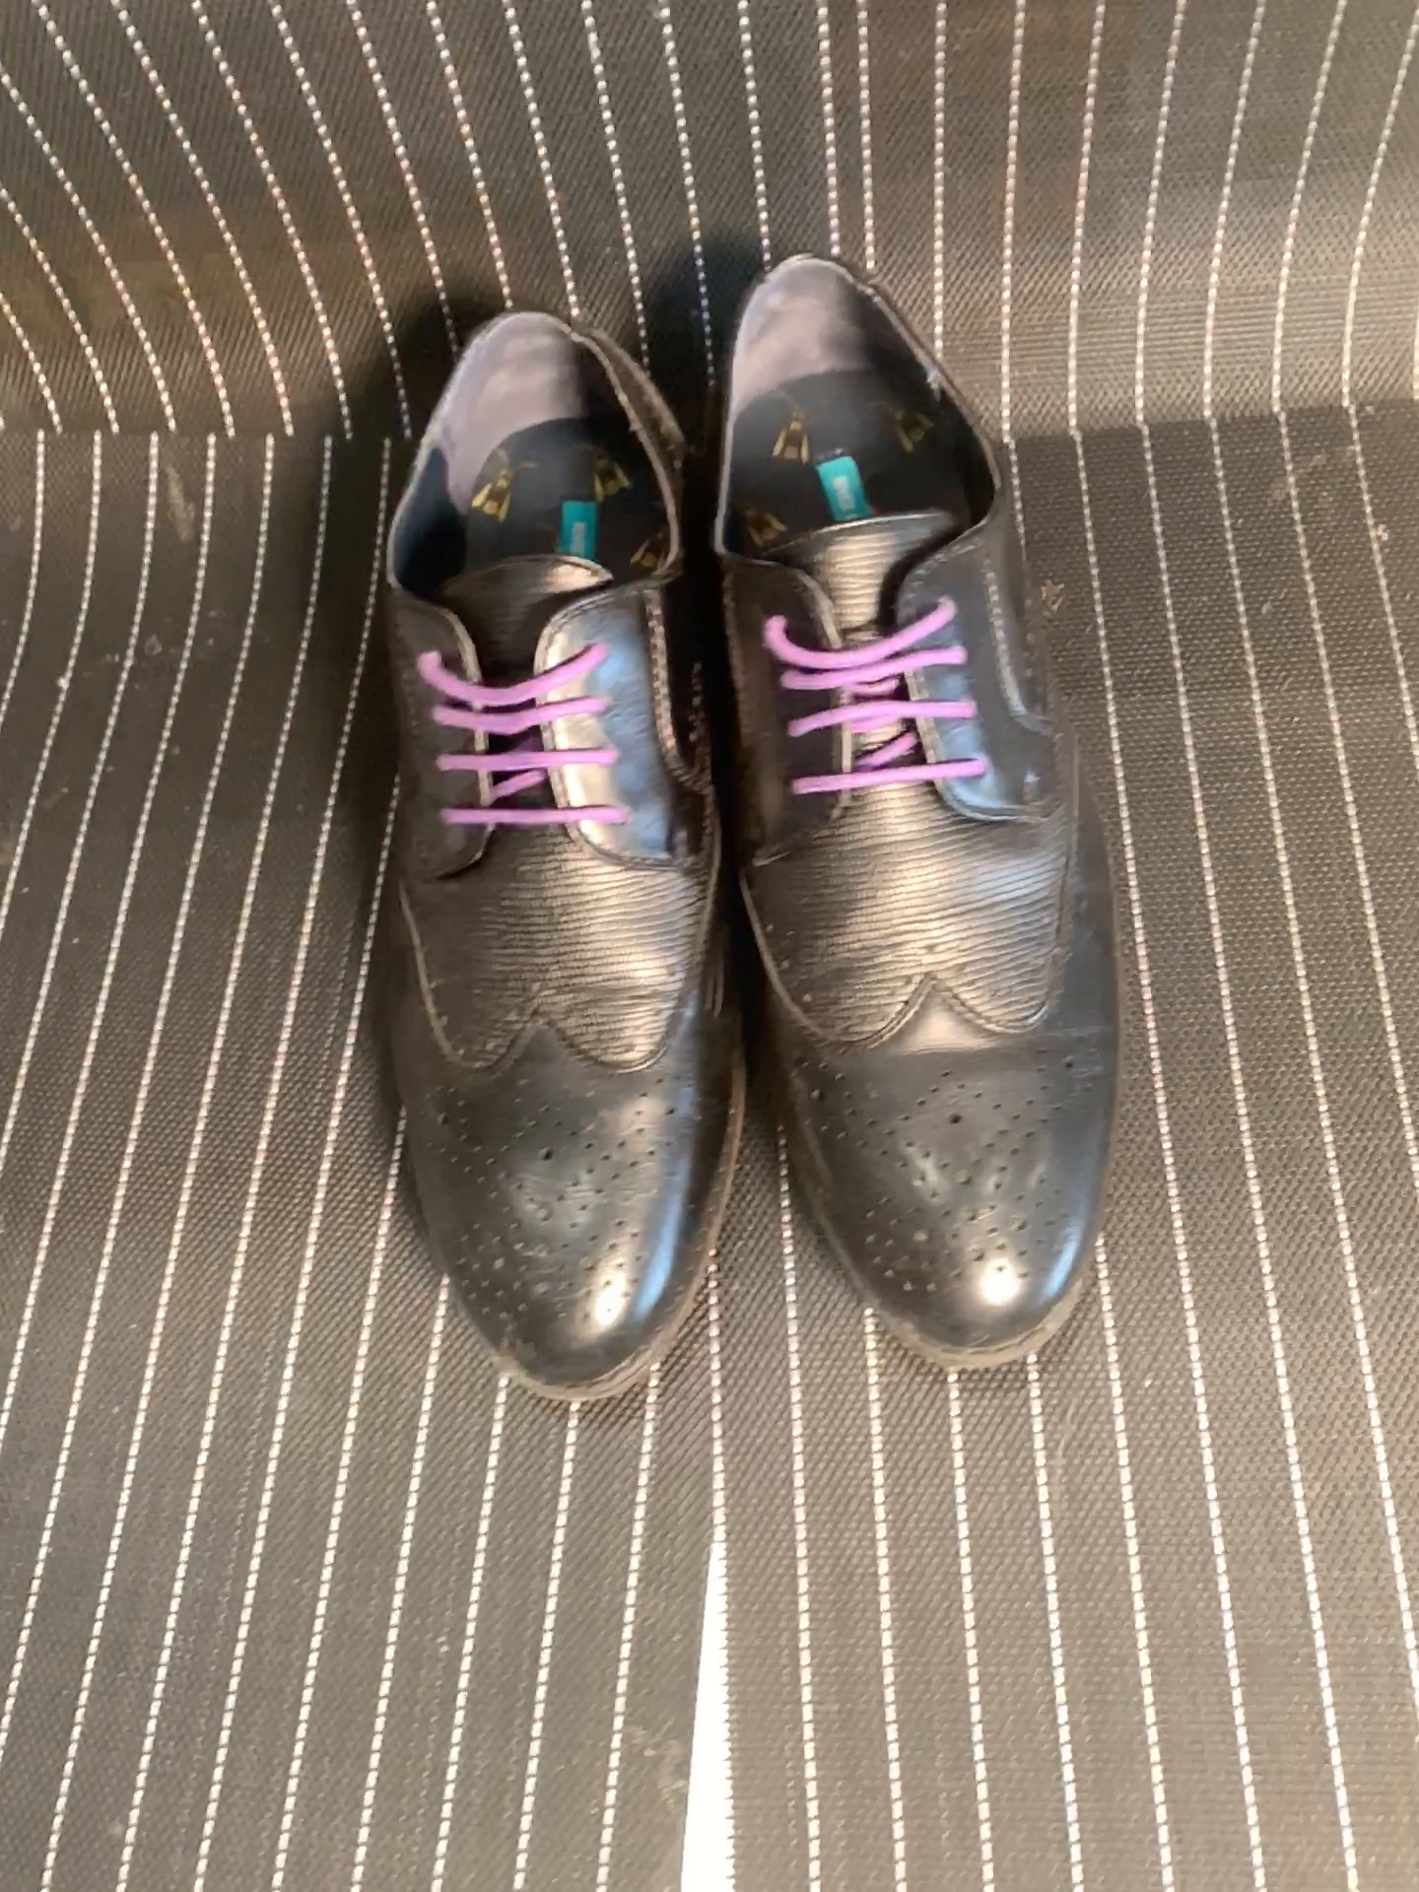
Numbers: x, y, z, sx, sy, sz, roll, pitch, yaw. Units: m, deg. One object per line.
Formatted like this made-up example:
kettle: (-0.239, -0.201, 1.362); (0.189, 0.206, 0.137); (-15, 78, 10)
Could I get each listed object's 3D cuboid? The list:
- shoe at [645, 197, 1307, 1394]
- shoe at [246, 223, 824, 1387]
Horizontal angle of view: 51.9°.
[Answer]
shoe: (0.054, -0.038, 0.372); (0.110, 0.090, 0.280); (-7, 71, 6)
shoe: (-0.036, -0.036, 0.405); (0.120, 0.100, 0.300); (-3, 71, 7)
